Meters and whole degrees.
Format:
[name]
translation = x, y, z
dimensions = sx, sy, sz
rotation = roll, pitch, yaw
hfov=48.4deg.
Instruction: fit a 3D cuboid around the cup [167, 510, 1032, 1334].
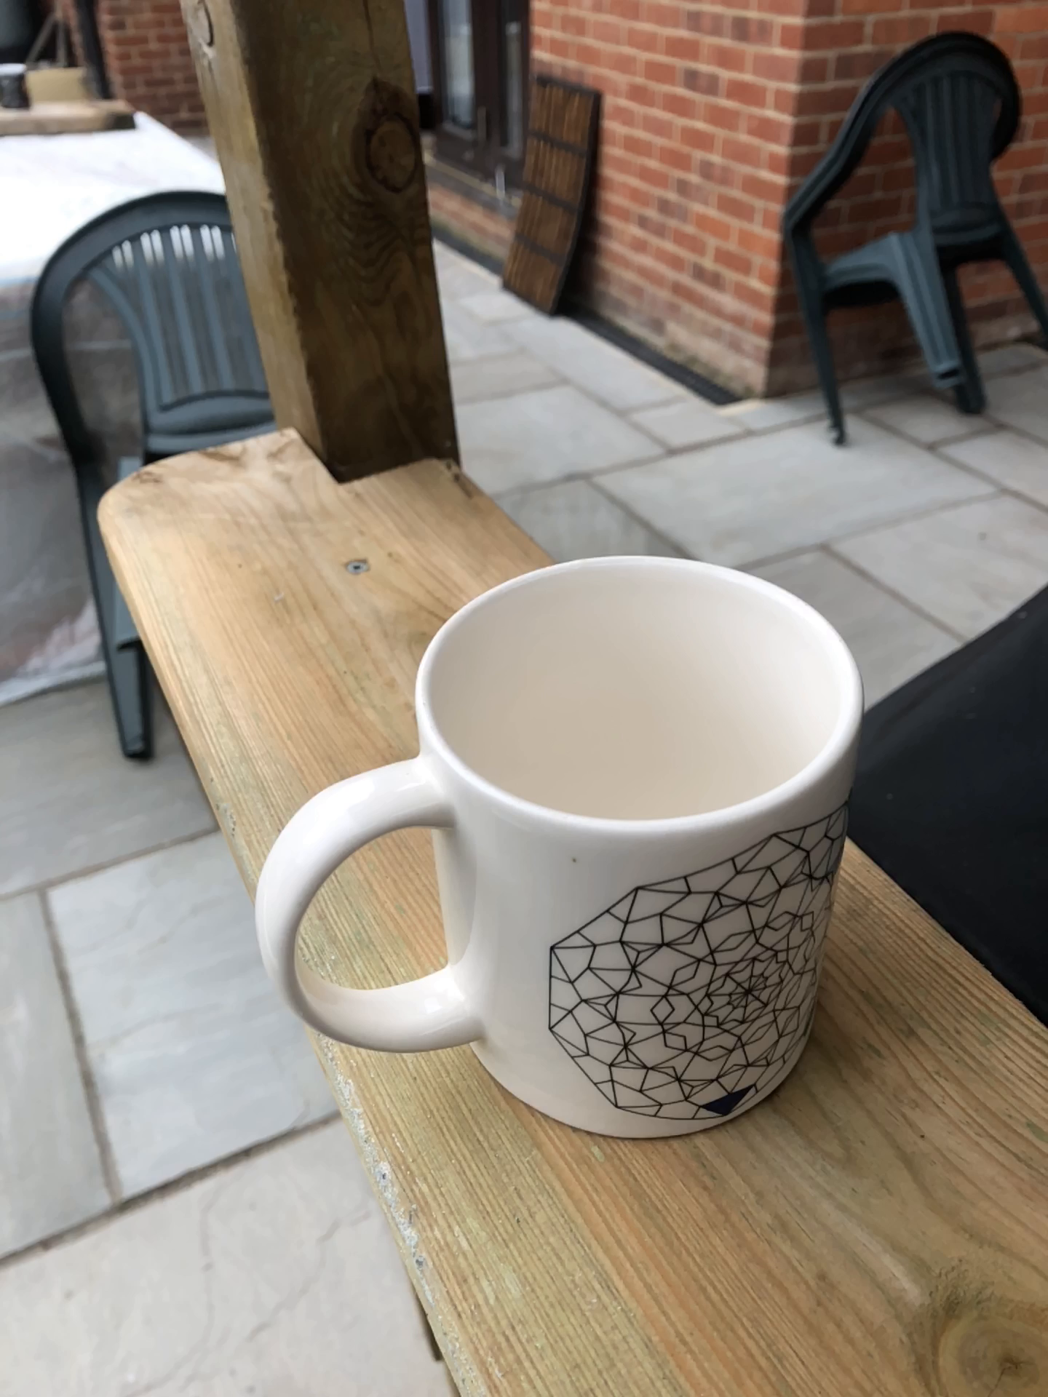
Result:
[cup]
translation = 0.012, 0.035, 0.239
dimensions = 0.130, 0.089, 0.091
rotation = -18, 39, -23
